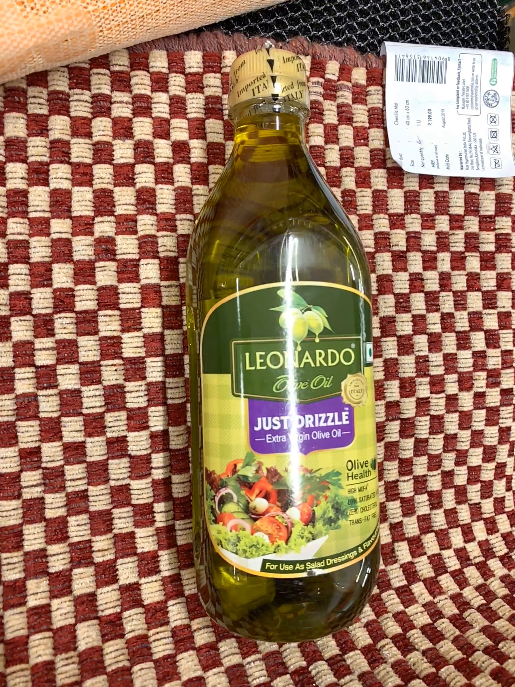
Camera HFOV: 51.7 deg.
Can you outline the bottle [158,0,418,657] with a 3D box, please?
[{"bbox_3d":[0.009,-0.018,0.223,0.080,0.070,0.240,-1,89,-25],"label":"bottle"}]
